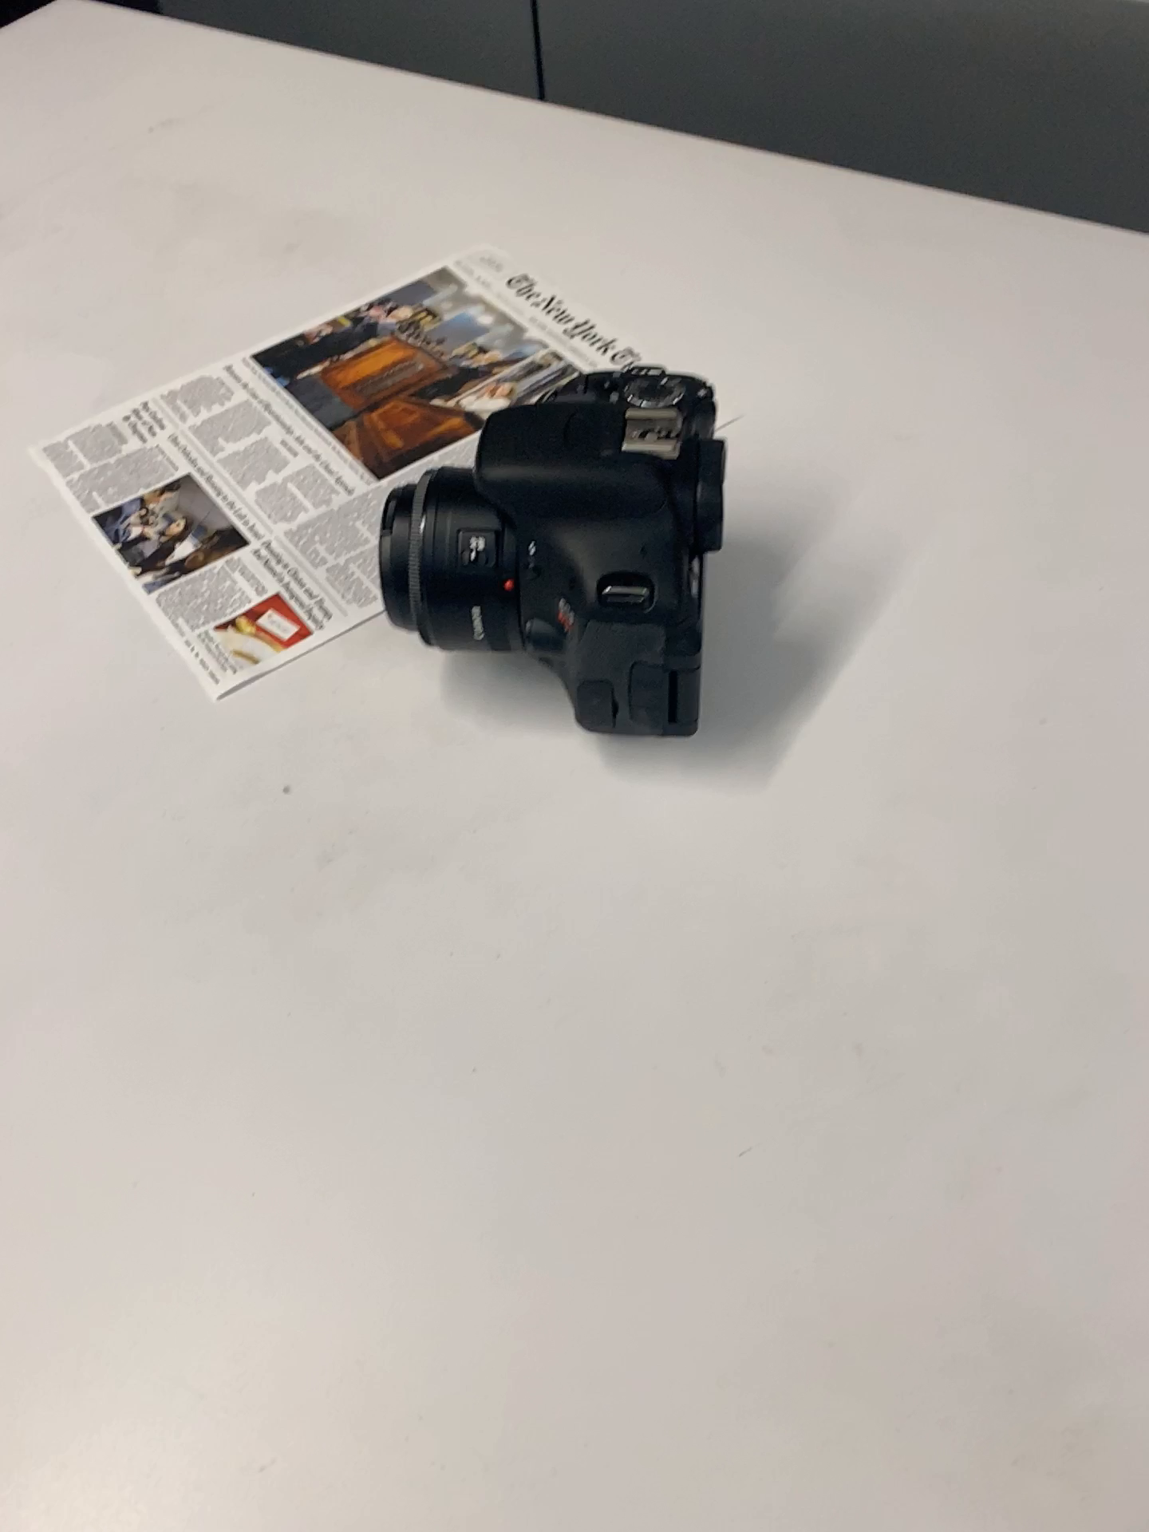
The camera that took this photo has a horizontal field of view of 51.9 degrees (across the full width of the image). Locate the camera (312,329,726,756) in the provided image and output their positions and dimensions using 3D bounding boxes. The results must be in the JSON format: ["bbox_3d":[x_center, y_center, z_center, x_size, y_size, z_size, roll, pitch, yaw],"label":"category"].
[{"bbox_3d":[-0.010,-0.077,0.405,0.114,0.090,0.109,4,53,7],"label":"camera"}]
